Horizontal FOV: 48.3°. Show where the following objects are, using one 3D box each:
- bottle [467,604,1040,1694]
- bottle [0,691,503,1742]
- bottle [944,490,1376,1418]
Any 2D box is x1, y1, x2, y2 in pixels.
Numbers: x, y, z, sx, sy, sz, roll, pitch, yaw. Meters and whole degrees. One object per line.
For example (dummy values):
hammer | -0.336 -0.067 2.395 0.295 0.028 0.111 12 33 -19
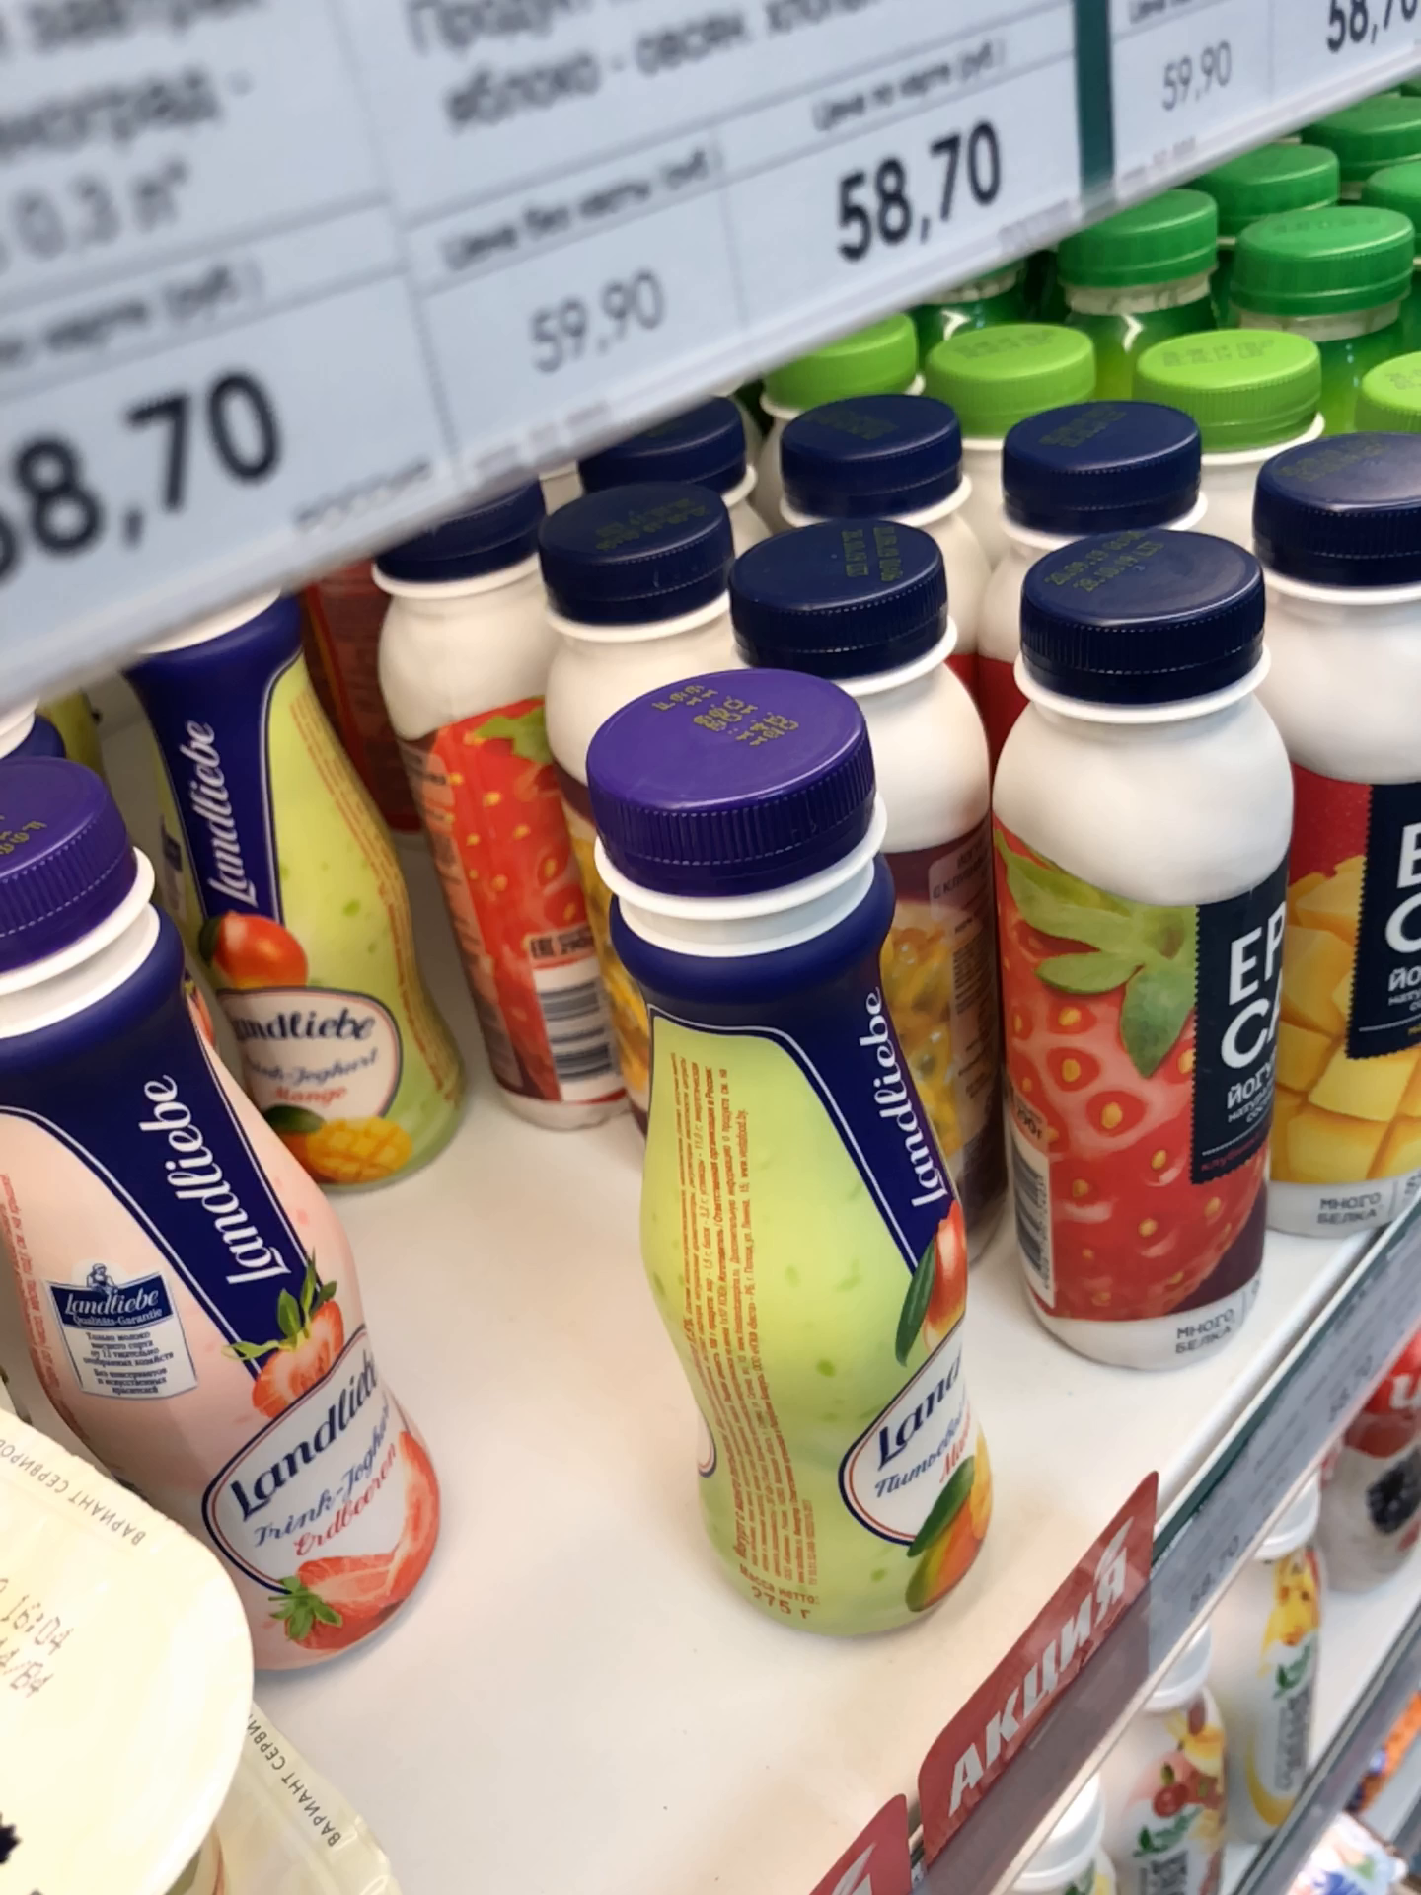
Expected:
bottle | 0.017 0.041 0.262 0.053 0.177 0.055 -6 36 4
bottle | -0.092 0.053 0.272 0.053 0.178 0.057 -6 36 4
bottle | 0.084 0.008 0.306 0.048 0.172 0.051 -6 36 4
